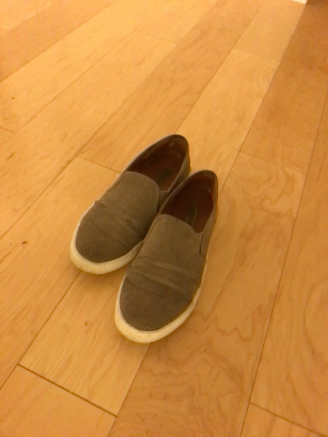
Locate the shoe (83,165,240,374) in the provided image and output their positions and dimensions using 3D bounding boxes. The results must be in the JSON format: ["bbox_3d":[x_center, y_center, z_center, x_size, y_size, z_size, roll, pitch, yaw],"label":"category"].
[{"bbox_3d":[0.011,0.048,0.493,0.110,0.050,0.282,20,52,10],"label":"shoe"}]

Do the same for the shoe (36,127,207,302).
[{"bbox_3d":[-0.049,-0.024,0.544,0.110,0.060,0.282,26,53,15],"label":"shoe"}]
